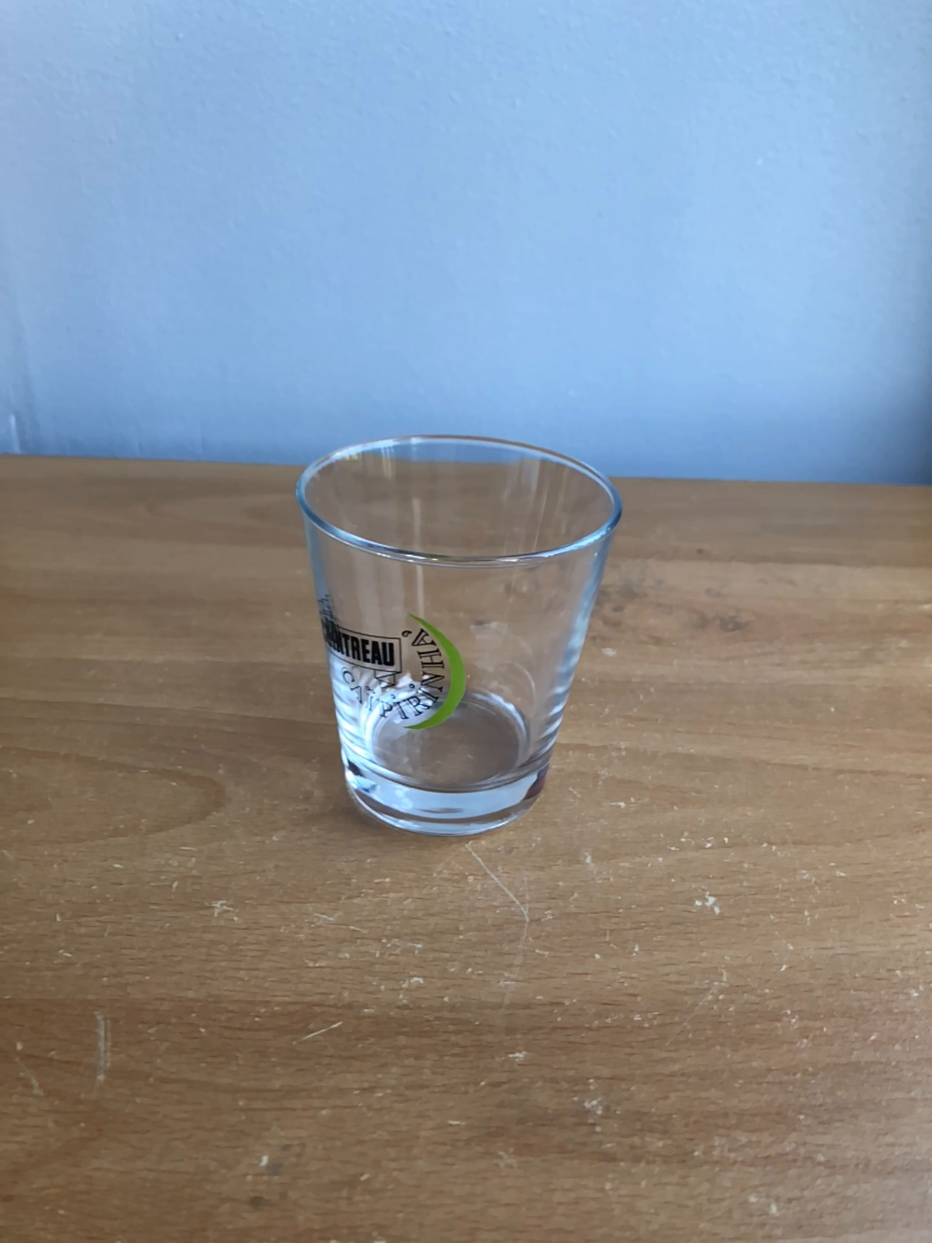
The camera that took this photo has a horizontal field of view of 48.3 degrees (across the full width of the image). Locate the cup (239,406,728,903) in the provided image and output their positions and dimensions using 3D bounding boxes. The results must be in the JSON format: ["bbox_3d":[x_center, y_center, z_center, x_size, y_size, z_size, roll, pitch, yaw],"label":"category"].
[{"bbox_3d":[0.003,0.001,0.250,0.079,0.073,0.076,2,28,-1],"label":"cup"}]
